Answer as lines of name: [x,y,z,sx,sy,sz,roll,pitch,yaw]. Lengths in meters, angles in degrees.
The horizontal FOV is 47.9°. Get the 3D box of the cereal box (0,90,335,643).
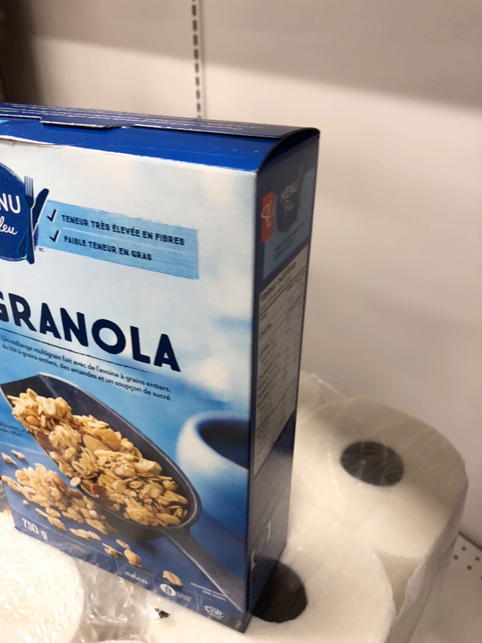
cereal box: [-0.052,0.028,0.258,0.160,0.239,0.060,14,33,23]
